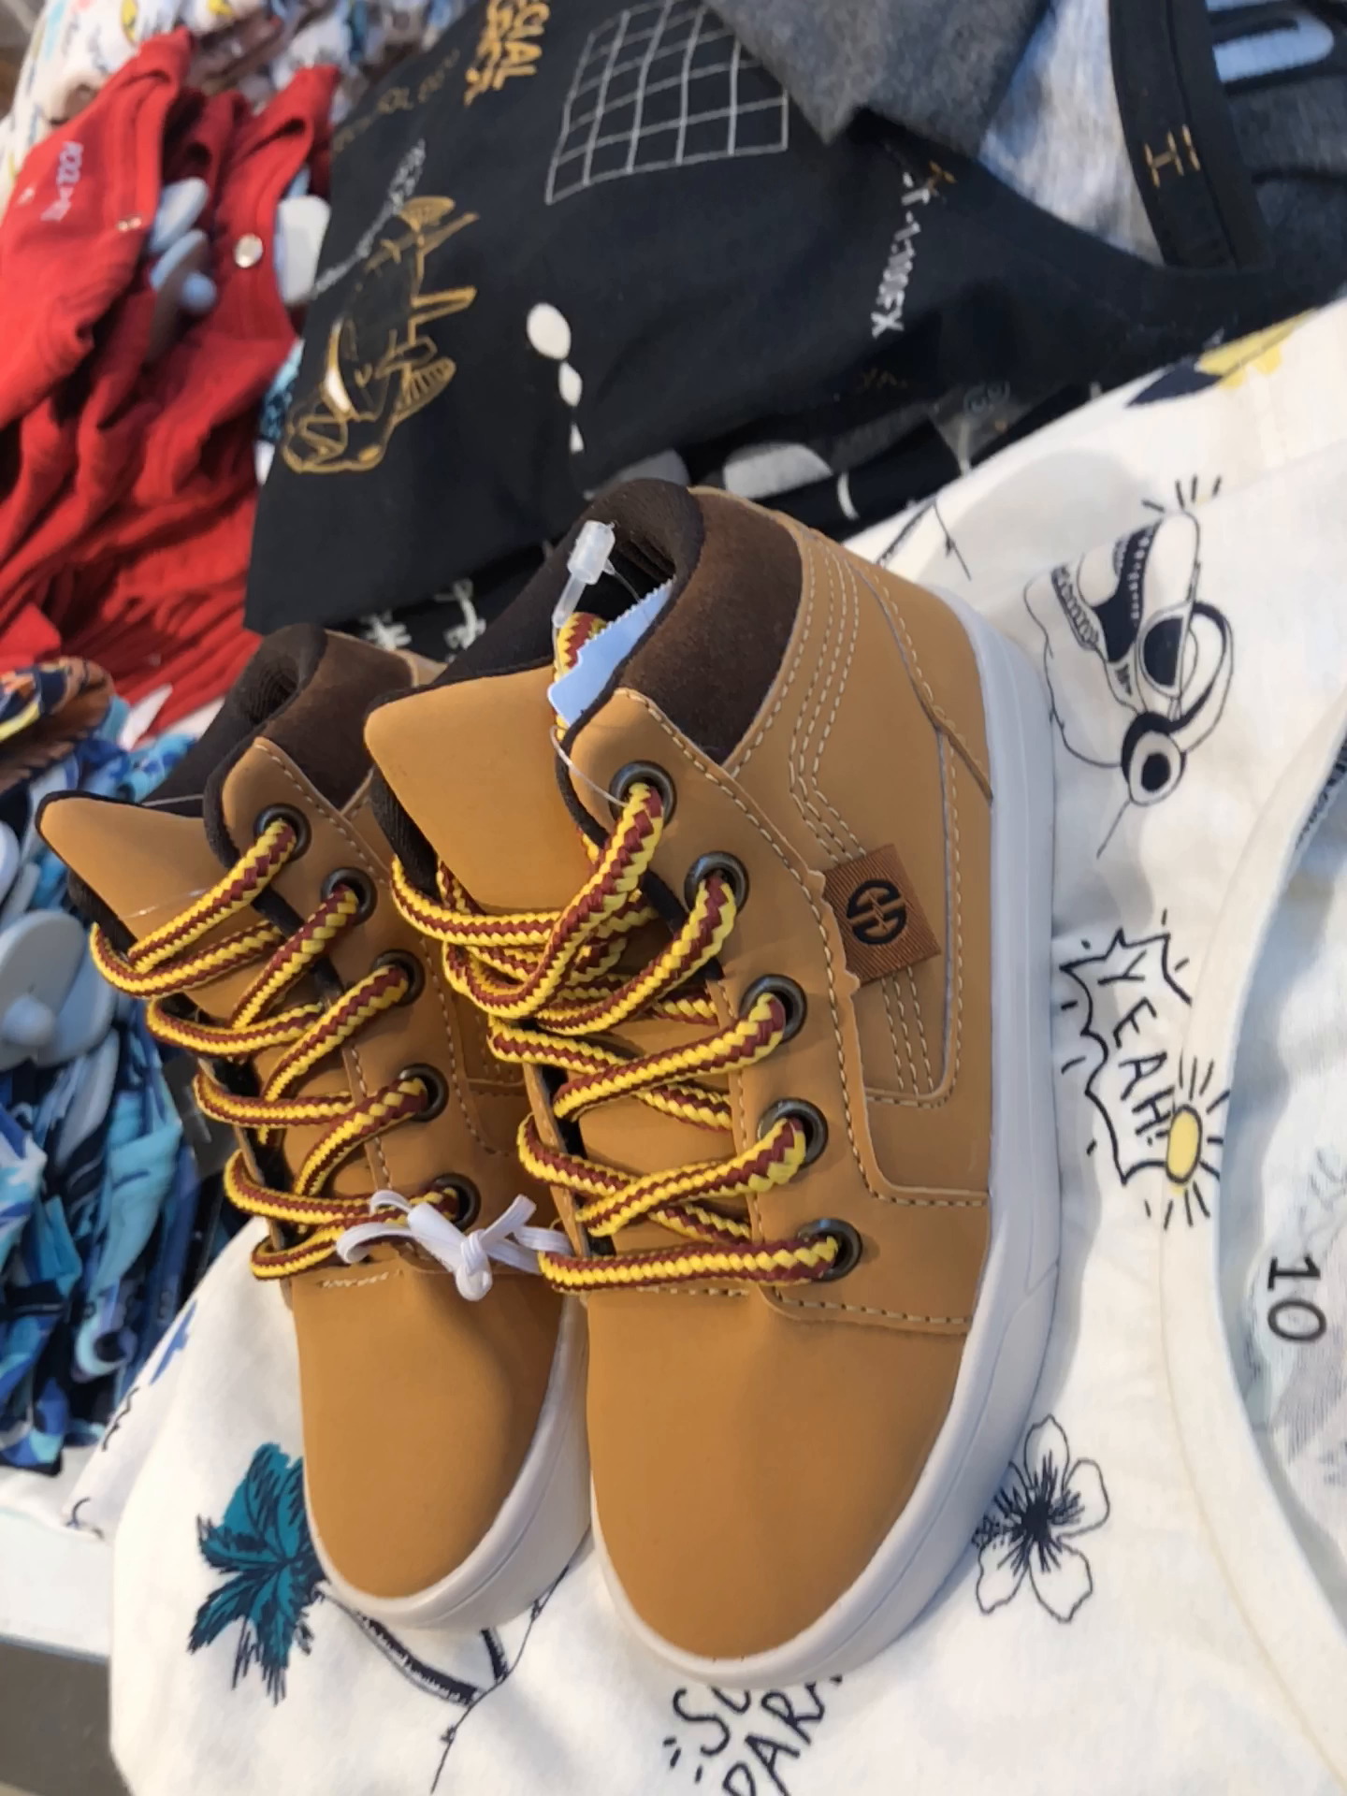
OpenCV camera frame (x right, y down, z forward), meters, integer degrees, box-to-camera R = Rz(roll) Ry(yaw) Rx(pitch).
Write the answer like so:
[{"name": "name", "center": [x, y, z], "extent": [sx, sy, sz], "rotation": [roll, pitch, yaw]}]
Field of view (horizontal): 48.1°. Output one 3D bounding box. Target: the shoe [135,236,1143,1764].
[{"name": "shoe", "center": [0.006, 0.016, 0.214], "extent": [0.070, 0.089, 0.170], "rotation": [-6, 65, 41]}]

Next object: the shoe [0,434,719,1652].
[{"name": "shoe", "center": [-0.050, 0.028, 0.253], "extent": [0.070, 0.089, 0.170], "rotation": [-17, 60, 36]}]
